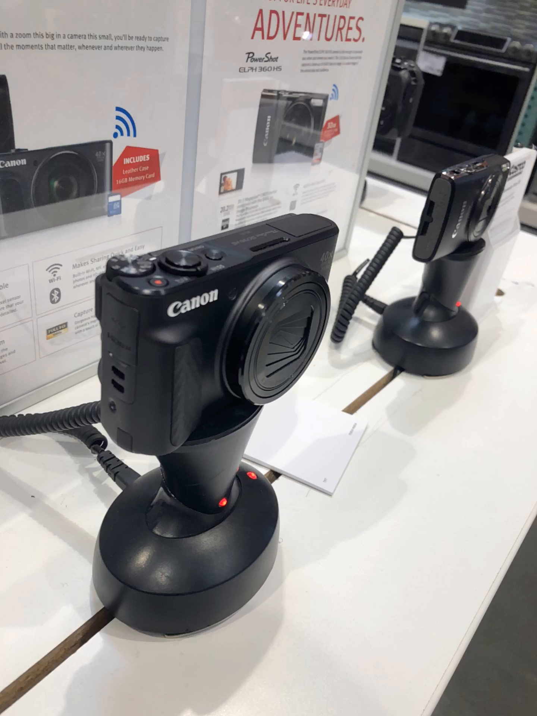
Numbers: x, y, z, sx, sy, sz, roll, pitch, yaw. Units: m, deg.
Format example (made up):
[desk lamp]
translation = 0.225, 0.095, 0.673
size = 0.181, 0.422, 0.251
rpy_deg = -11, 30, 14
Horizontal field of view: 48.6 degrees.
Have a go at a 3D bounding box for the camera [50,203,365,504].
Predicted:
[camera]
translation = -0.018, -0.010, 0.230
size = 0.040, 0.070, 0.120
rpy_deg = 29, 37, 28
